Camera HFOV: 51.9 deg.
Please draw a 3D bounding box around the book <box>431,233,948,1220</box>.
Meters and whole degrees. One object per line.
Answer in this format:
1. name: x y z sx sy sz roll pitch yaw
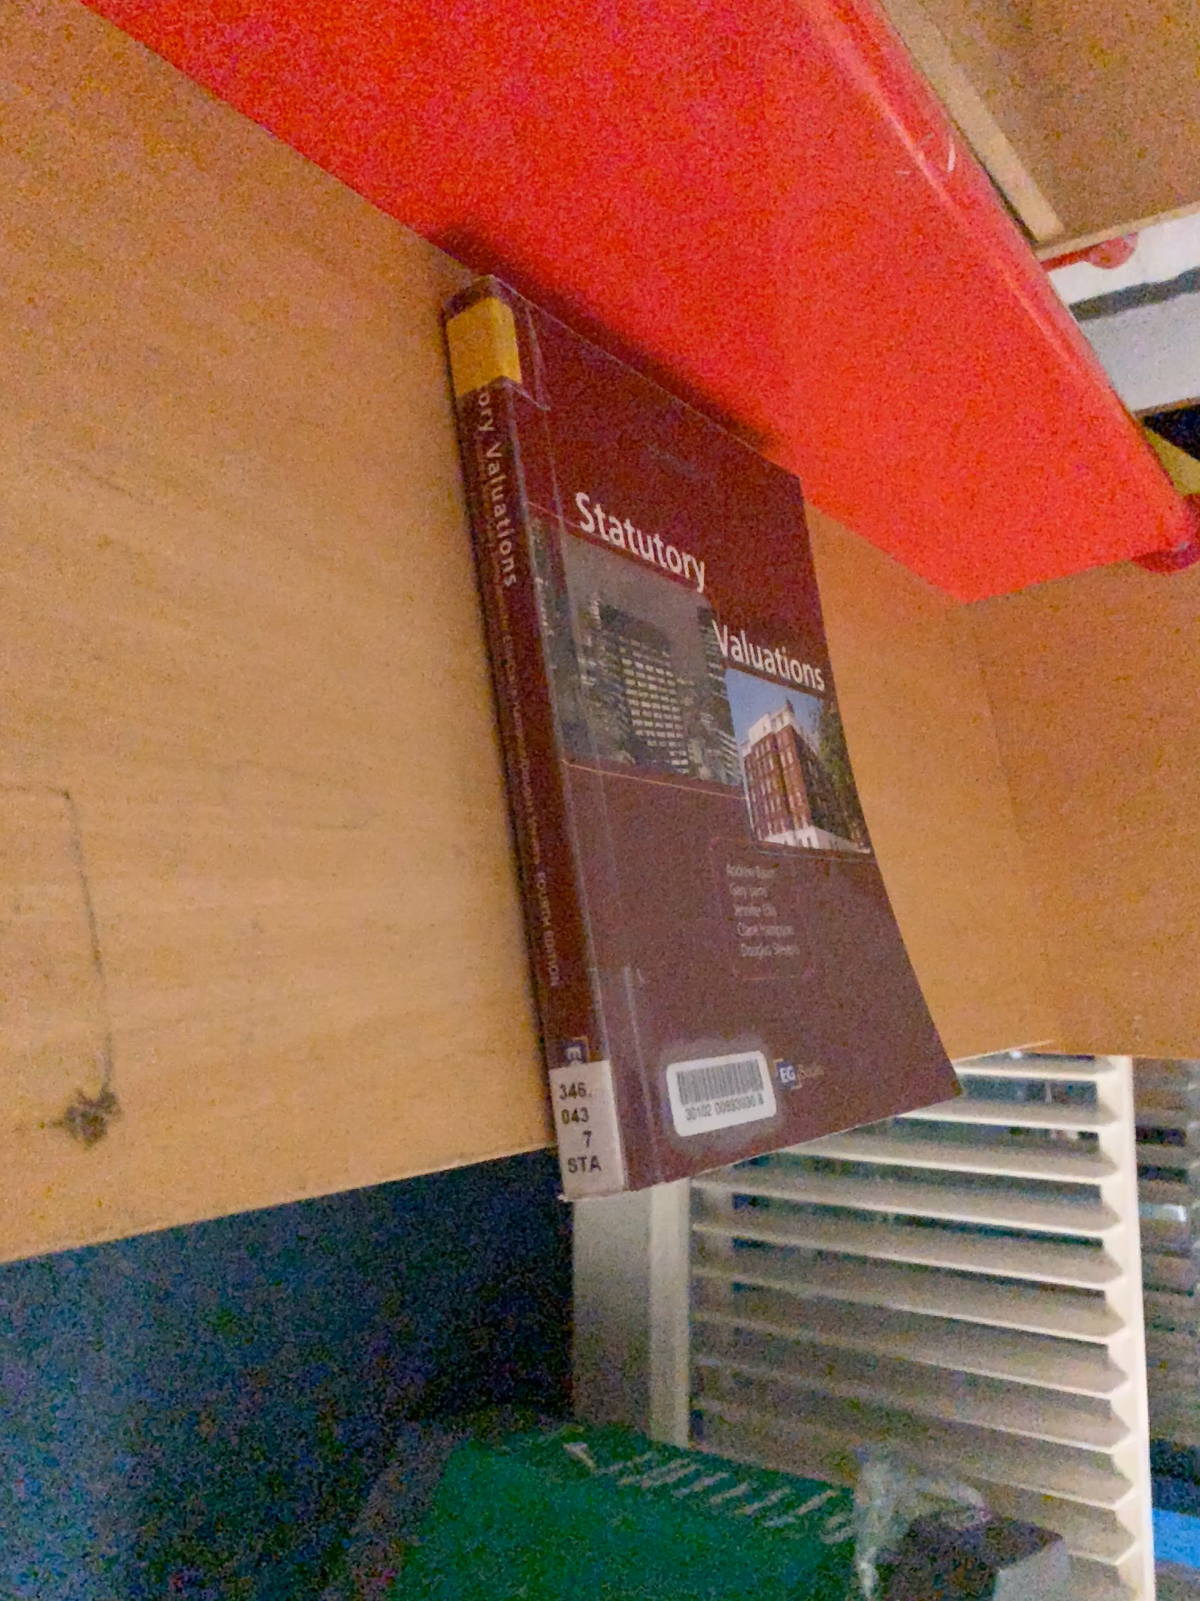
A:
1. book: 0.037 -0.018 0.386 0.190 0.027 0.252 10 67 -55
